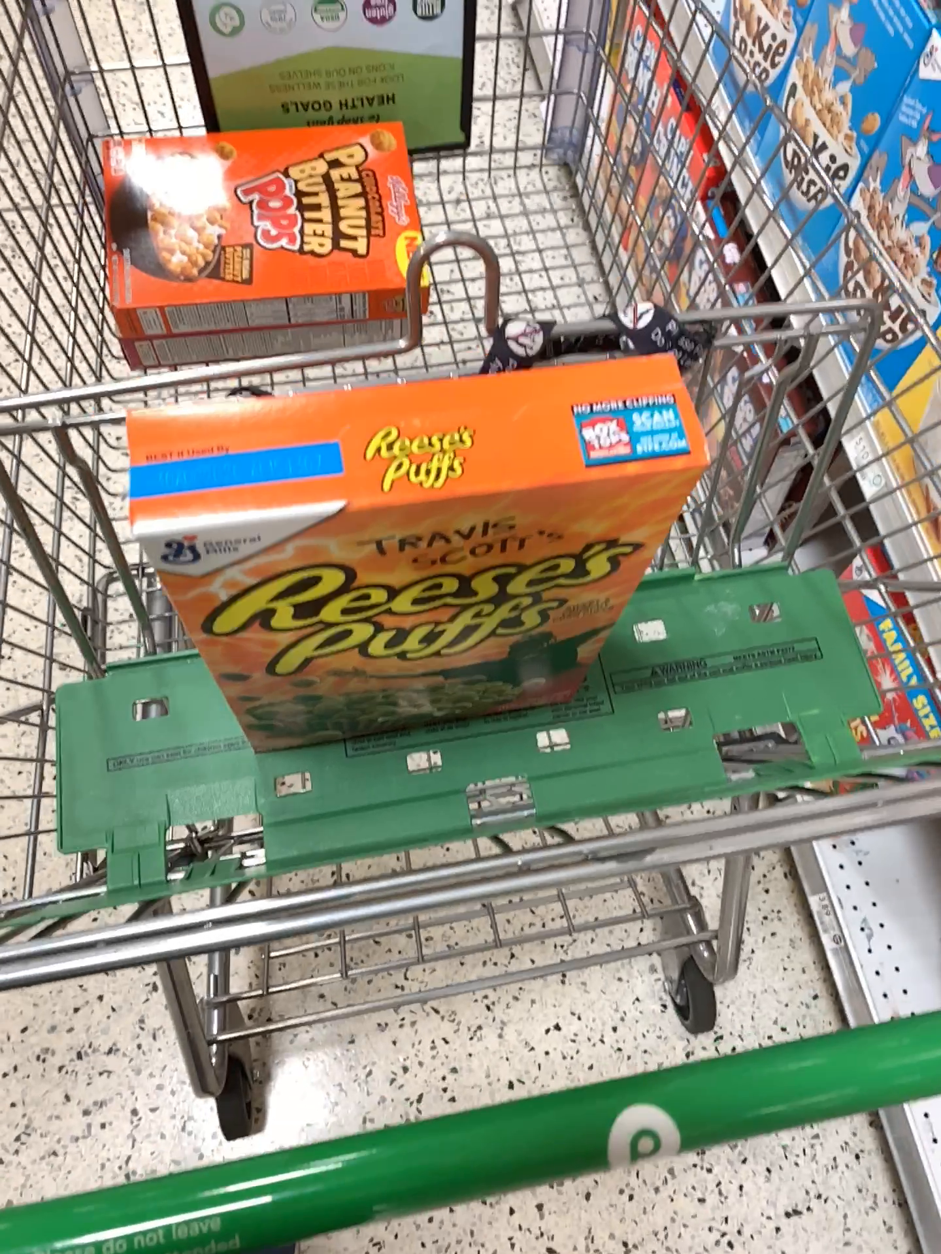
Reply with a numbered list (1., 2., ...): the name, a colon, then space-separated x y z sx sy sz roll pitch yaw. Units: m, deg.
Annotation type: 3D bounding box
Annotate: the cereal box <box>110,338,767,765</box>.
1. cereal box: -0.018 -0.011 0.445 0.210 0.278 0.050 -8 68 -7
